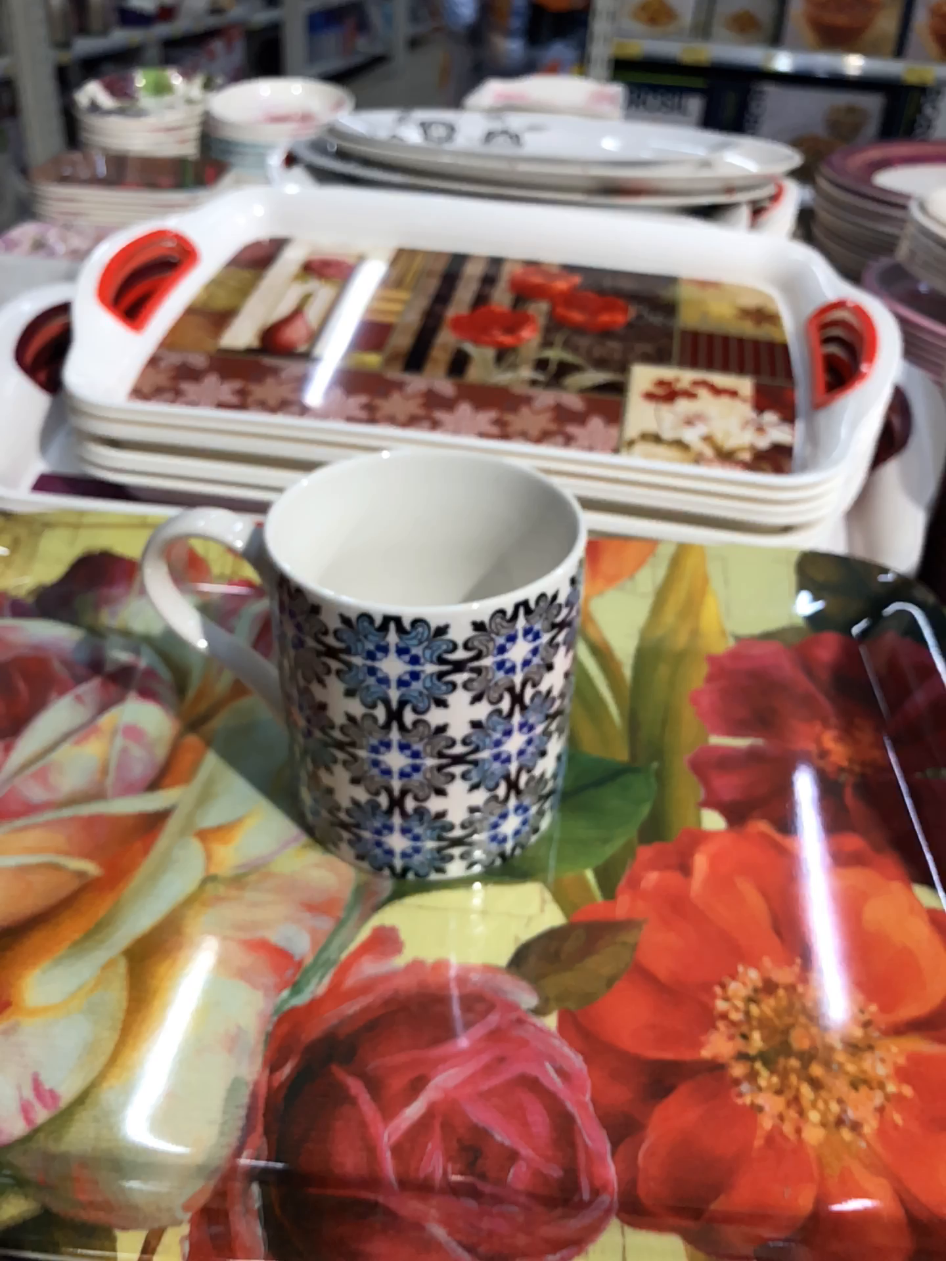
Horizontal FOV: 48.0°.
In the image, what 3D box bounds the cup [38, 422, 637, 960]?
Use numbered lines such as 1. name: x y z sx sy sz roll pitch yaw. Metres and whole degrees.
1. cup: -0.028 0.013 0.292 0.130 0.099 0.091 6 34 4
